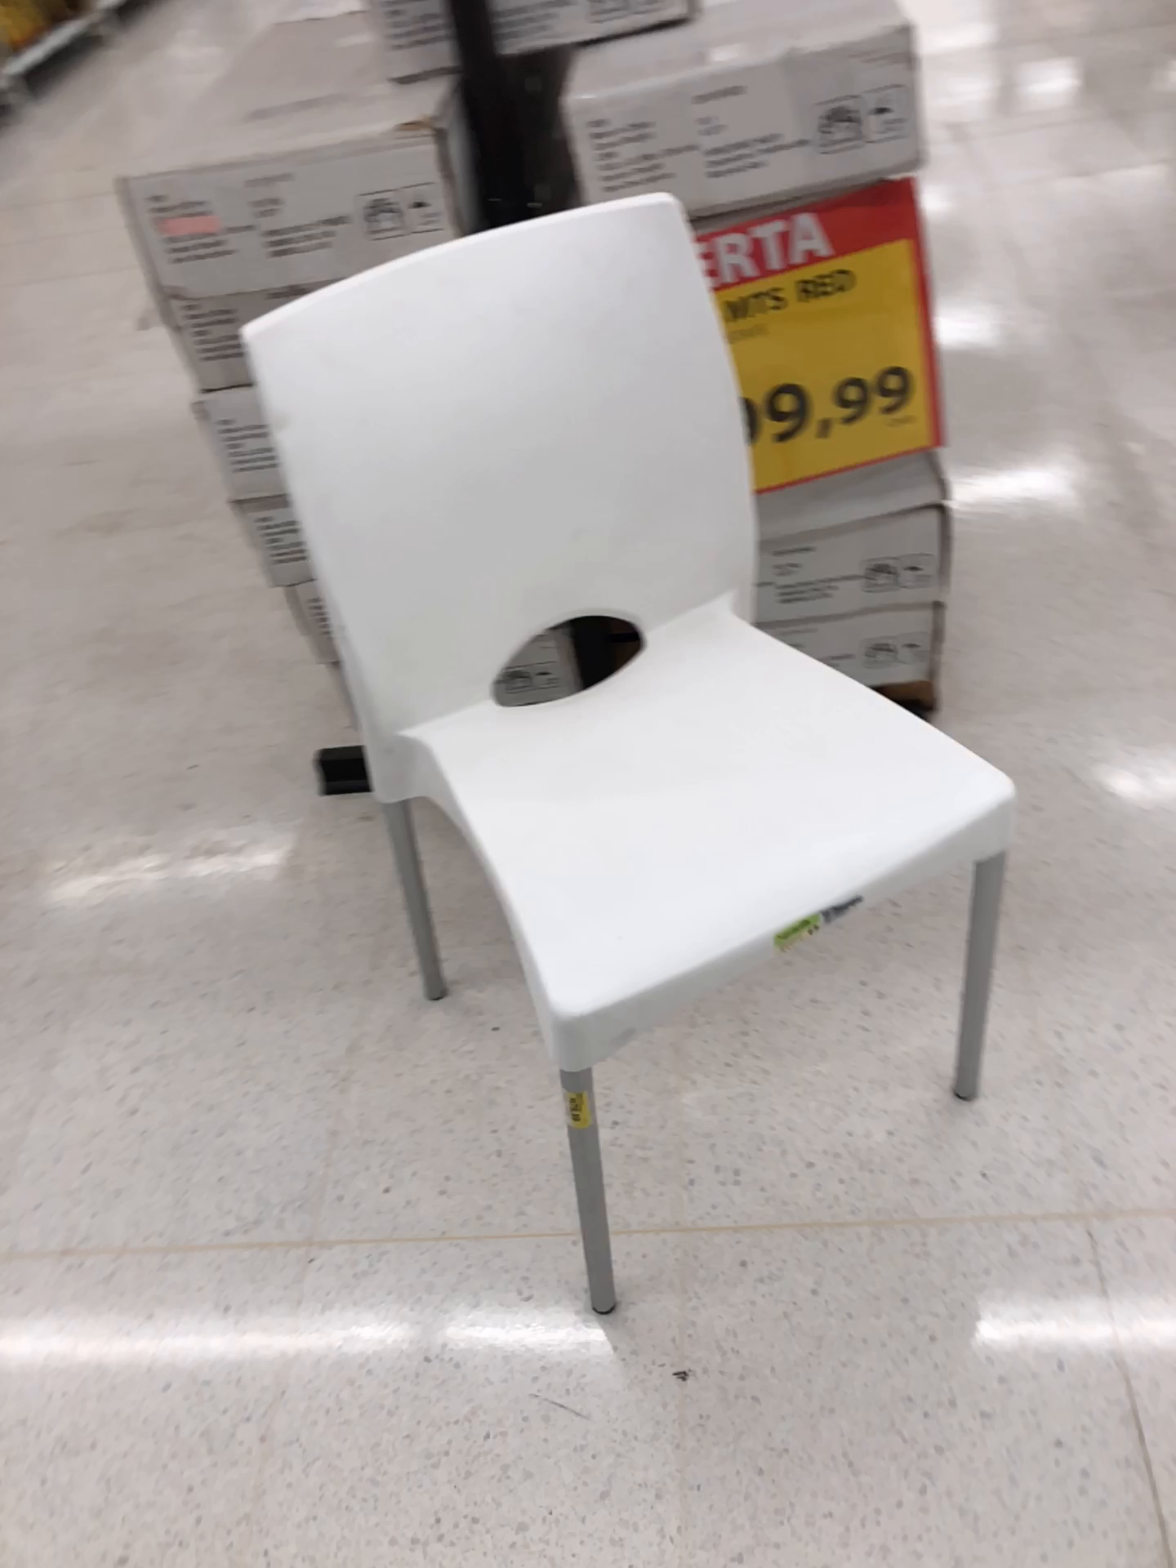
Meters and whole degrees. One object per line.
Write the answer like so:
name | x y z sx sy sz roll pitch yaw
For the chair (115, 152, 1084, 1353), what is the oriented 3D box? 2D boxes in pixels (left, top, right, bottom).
chair | 0.019 -0.030 1.173 0.501 0.794 0.564 -24 42 -13
